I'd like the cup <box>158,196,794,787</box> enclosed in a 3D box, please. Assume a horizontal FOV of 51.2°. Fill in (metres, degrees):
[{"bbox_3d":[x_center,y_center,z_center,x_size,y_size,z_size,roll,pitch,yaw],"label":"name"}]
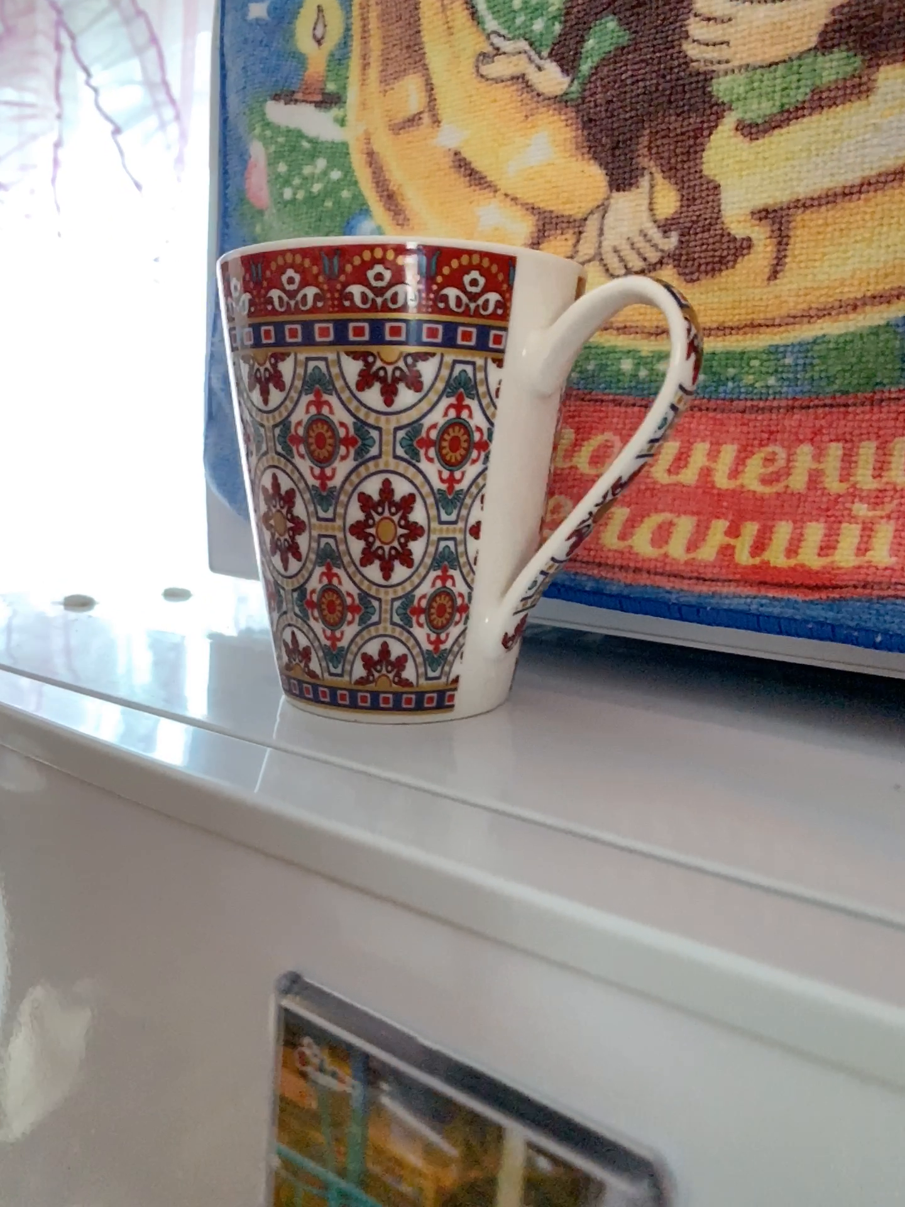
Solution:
[{"bbox_3d":[0.007,-0.029,0.231,0.124,0.101,0.090,6,9,28],"label":"cup"}]
